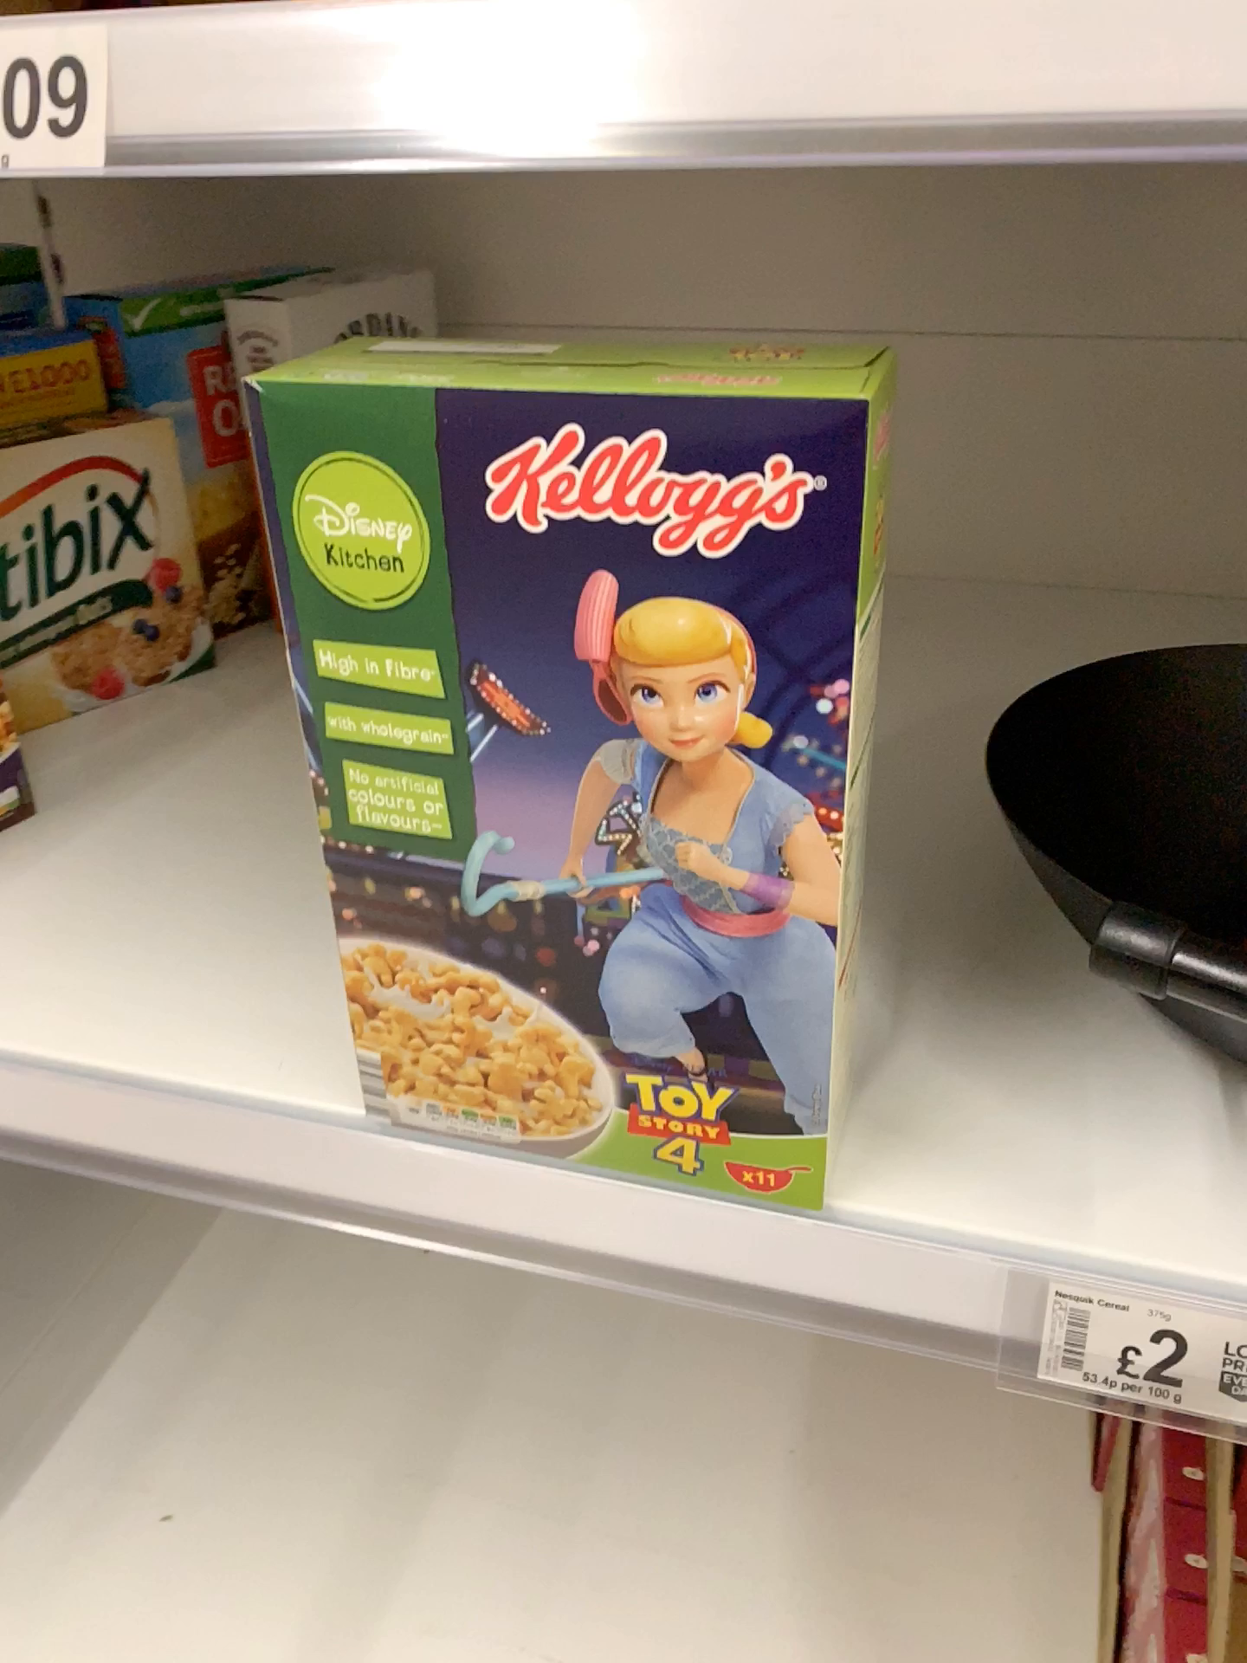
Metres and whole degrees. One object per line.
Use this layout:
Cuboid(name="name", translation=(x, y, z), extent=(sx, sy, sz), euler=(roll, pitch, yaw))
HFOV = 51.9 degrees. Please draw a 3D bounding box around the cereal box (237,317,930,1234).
Cuboid(name="cereal box", translation=(-0.006, -0.015, 0.453), extent=(0.190, 0.297, 0.081), euler=(8, 30, 16))
